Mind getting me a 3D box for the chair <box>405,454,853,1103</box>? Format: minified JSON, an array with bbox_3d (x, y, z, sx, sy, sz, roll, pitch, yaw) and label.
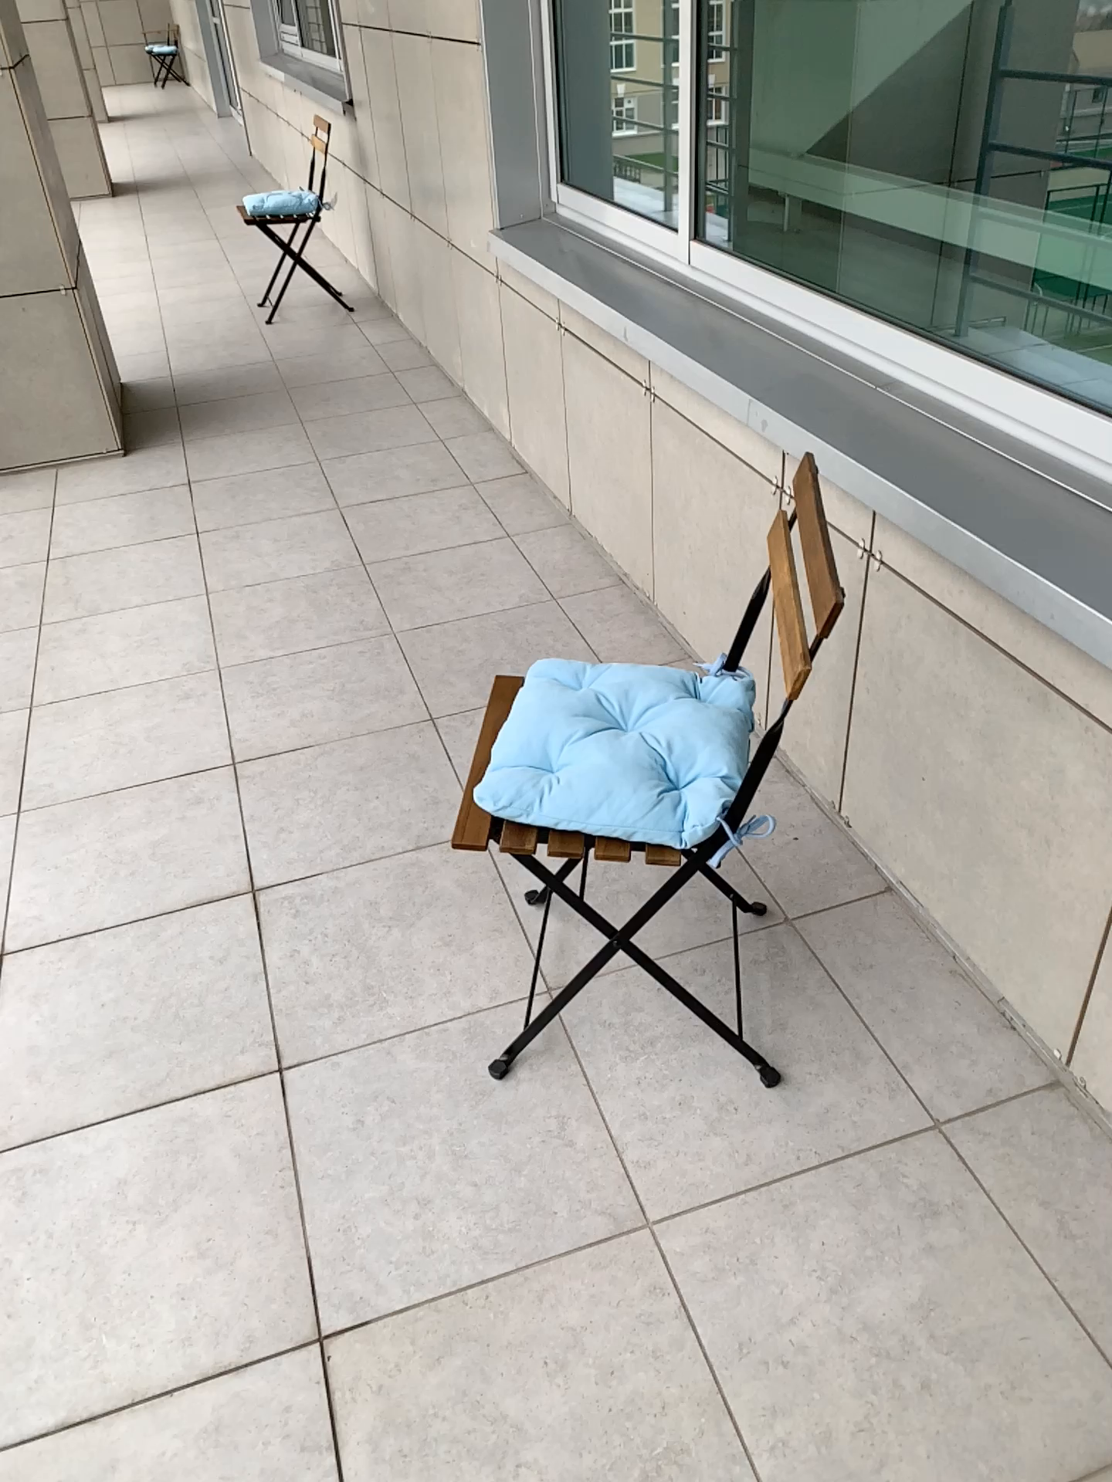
[{"bbox_3d":[0.114,0.053,1.518,0.452,0.748,0.419,1,34,8],"label":"chair"}]
